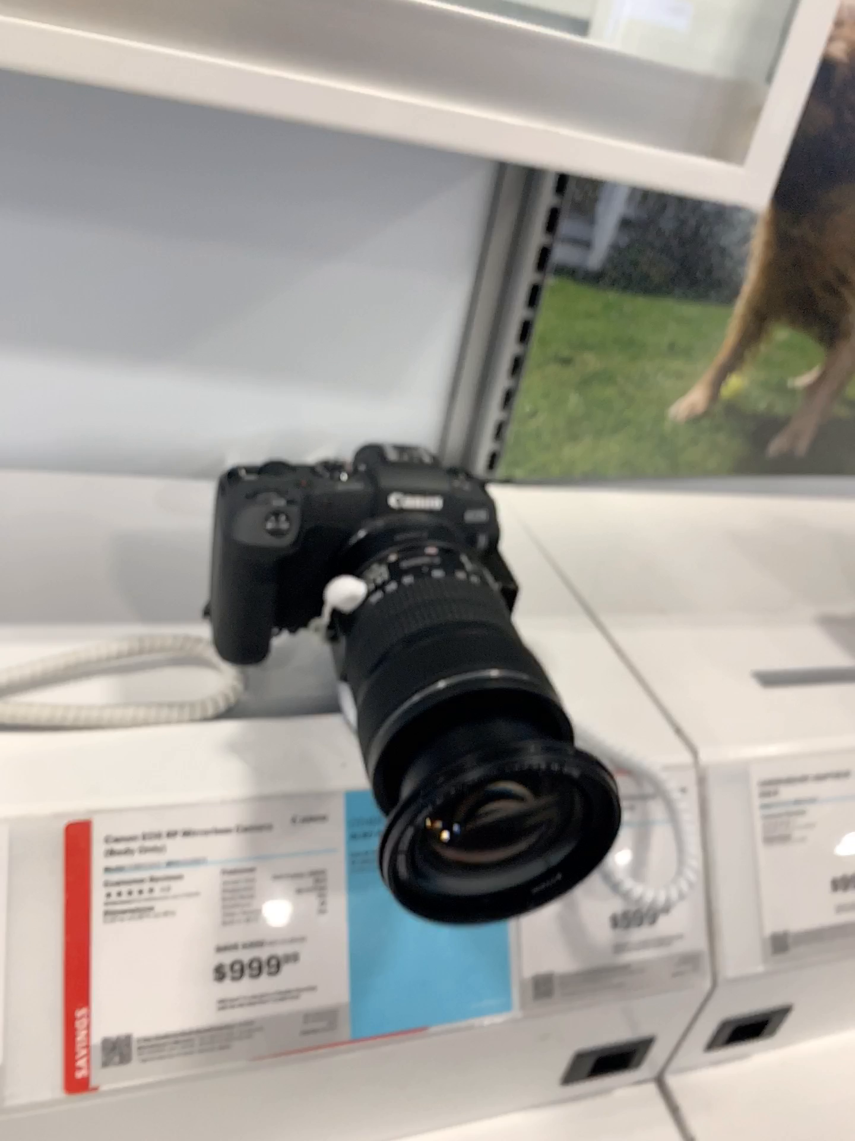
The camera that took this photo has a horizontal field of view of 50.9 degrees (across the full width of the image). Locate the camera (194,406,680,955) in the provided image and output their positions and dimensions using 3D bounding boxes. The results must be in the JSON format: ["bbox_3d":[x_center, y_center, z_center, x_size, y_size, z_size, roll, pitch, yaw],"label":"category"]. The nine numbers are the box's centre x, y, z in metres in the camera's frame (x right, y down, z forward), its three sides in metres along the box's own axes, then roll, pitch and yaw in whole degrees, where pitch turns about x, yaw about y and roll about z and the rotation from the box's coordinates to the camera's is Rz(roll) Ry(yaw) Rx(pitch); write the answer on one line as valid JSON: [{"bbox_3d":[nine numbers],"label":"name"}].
[{"bbox_3d":[-0.020,0.025,0.357,0.132,0.099,0.200,1,32,-17],"label":"camera"}]
